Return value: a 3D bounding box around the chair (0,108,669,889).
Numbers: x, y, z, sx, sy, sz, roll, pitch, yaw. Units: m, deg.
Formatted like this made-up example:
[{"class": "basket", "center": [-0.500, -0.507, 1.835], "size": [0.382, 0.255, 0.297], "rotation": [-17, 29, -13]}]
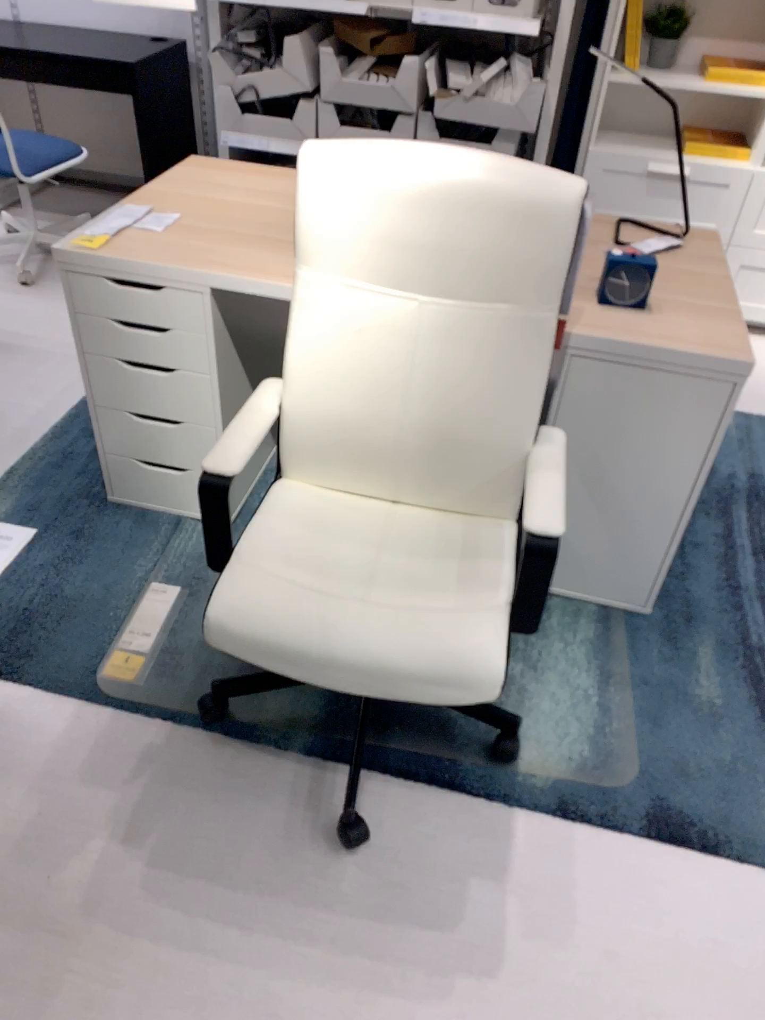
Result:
[{"class": "chair", "center": [-0.041, -0.022, 1.276], "size": [0.690, 0.956, 0.703], "rotation": [11, 40, 8]}]
